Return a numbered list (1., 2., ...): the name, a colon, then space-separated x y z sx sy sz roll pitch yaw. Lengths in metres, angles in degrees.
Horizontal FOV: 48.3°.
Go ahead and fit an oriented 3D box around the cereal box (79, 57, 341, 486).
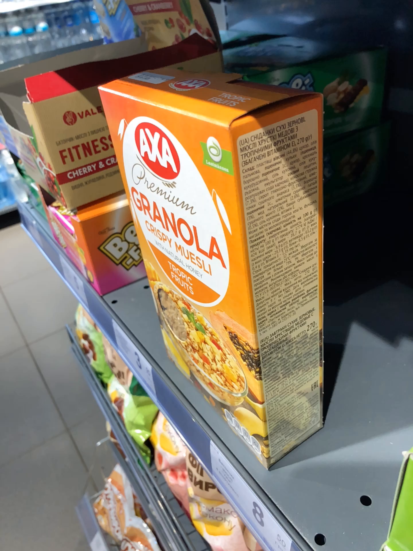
1. cereal box: 0.005 -0.004 0.267 0.050 0.208 0.141 -27 38 -23
